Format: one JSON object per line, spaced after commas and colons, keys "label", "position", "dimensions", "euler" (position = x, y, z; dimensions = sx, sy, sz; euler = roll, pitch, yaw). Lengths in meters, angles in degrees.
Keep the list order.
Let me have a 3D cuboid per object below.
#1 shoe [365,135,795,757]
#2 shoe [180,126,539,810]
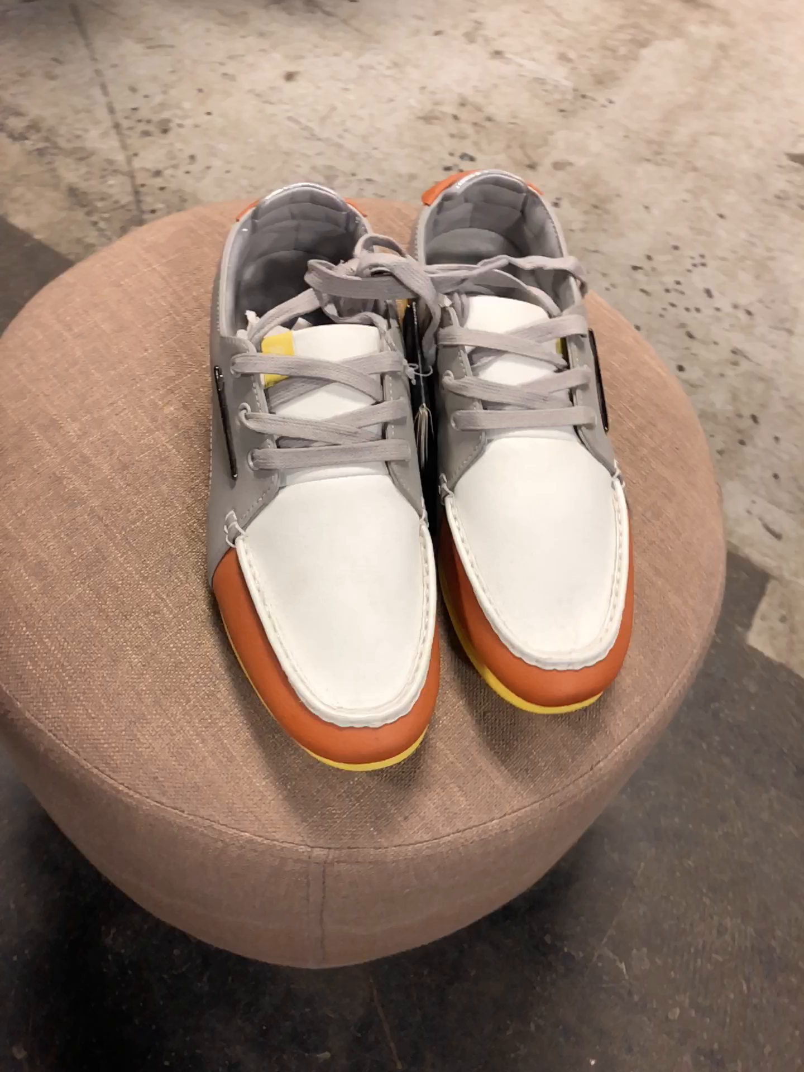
{"label": "shoe", "position": [0.054, -0.048, 0.386], "dimensions": [0.100, 0.099, 0.251], "euler": [-5, 61, -10]}
{"label": "shoe", "position": [-0.033, -0.042, 0.385], "dimensions": [0.100, 0.099, 0.281], "euler": [-5, 61, -10]}
